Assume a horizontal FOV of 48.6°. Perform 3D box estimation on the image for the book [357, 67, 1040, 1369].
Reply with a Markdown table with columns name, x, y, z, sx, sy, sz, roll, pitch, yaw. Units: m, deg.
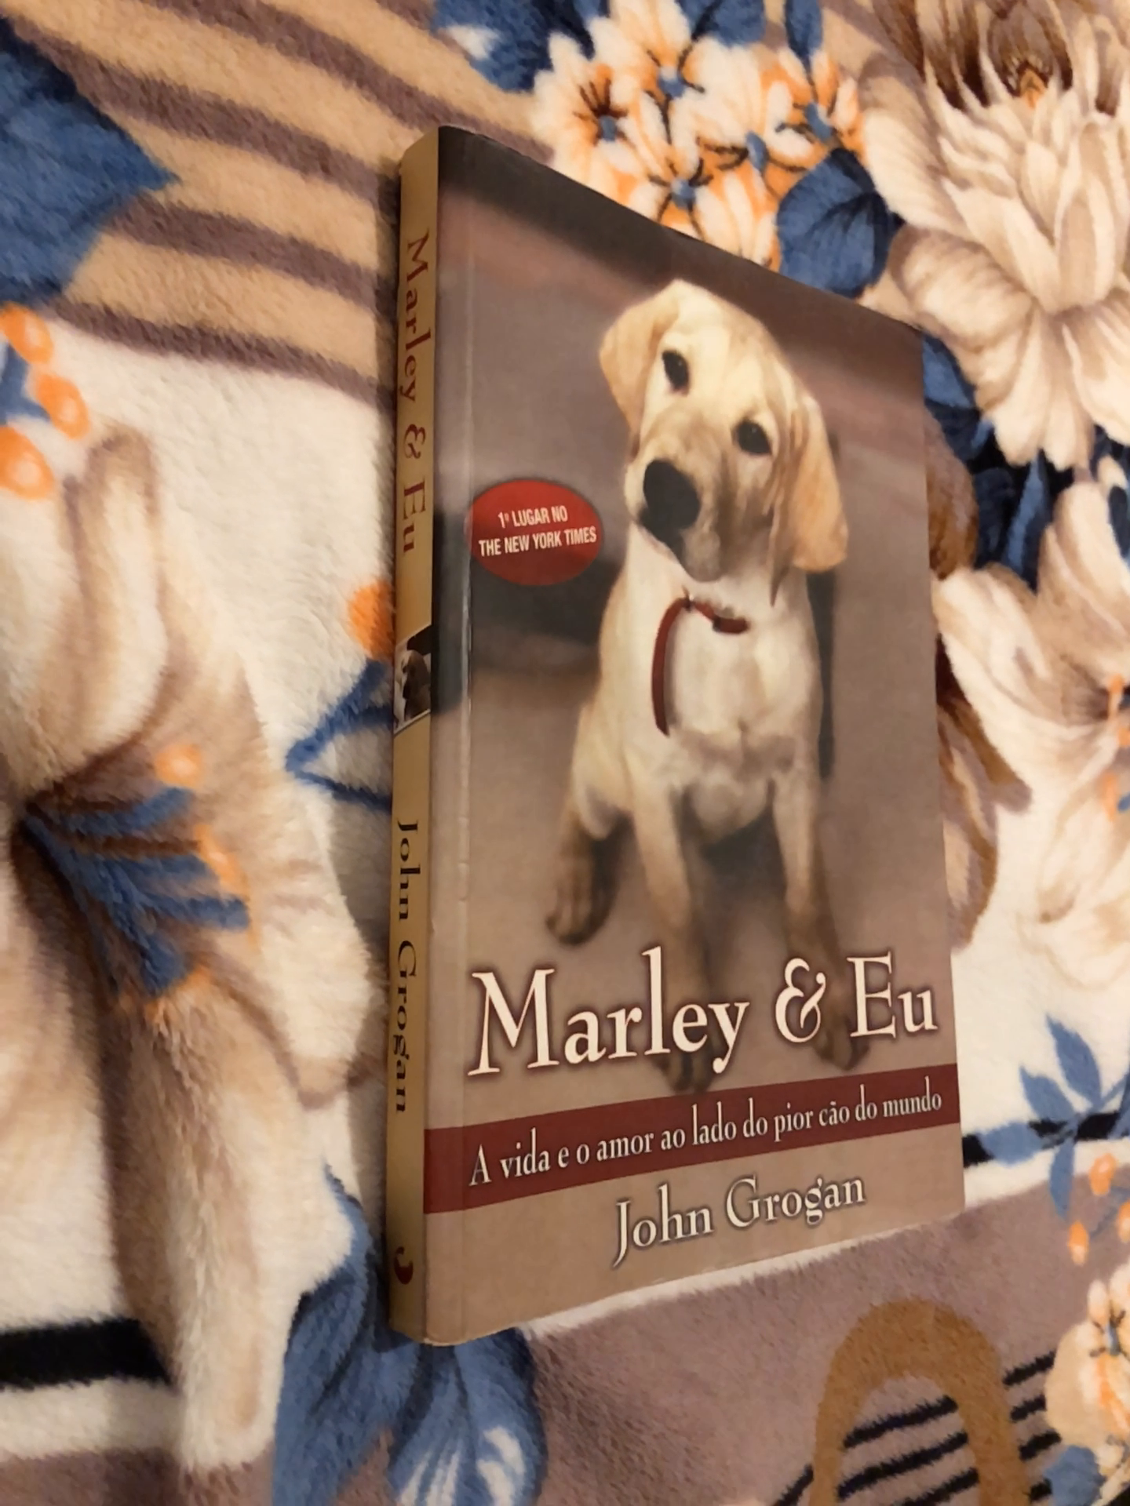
| name | x | y | z | sx | sy | sz | roll | pitch | yaw |
| --- | --- | --- | --- | --- | --- | --- | --- | --- | --- |
| book | 0.038 | -0.006 | 0.288 | 0.171 | 0.040 | 0.230 | 5 | 81 | -39 |
